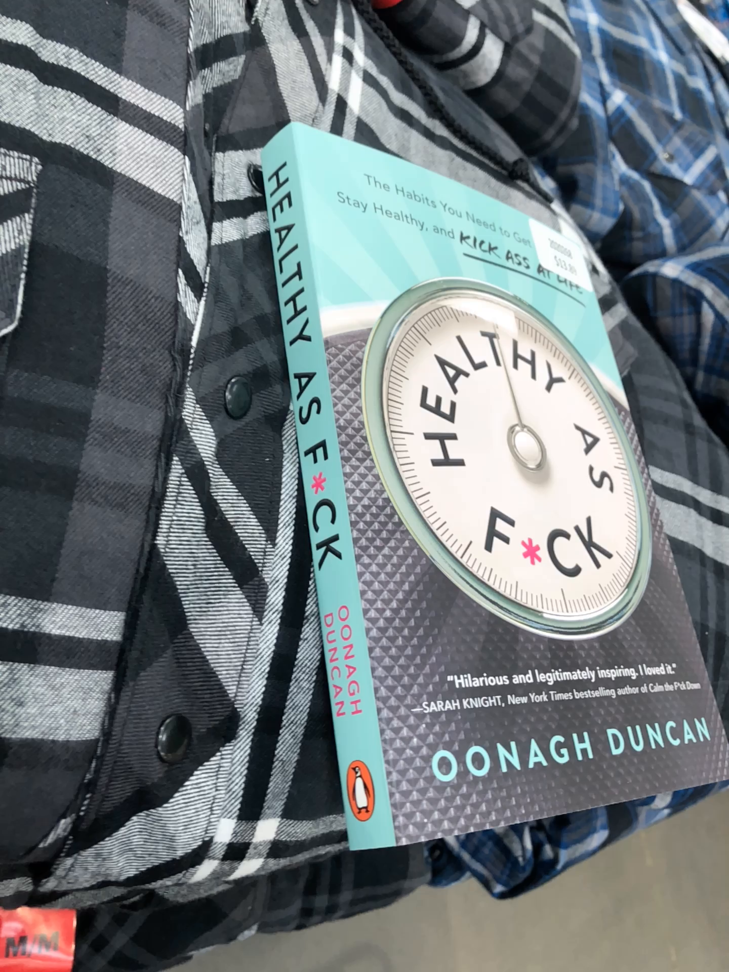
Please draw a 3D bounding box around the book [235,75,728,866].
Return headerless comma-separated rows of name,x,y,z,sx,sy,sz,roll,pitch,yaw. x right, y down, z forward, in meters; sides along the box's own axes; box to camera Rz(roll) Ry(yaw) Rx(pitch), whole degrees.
book,0.042,-0.012,0.284,0.157,0.028,0.237,9,62,-39
